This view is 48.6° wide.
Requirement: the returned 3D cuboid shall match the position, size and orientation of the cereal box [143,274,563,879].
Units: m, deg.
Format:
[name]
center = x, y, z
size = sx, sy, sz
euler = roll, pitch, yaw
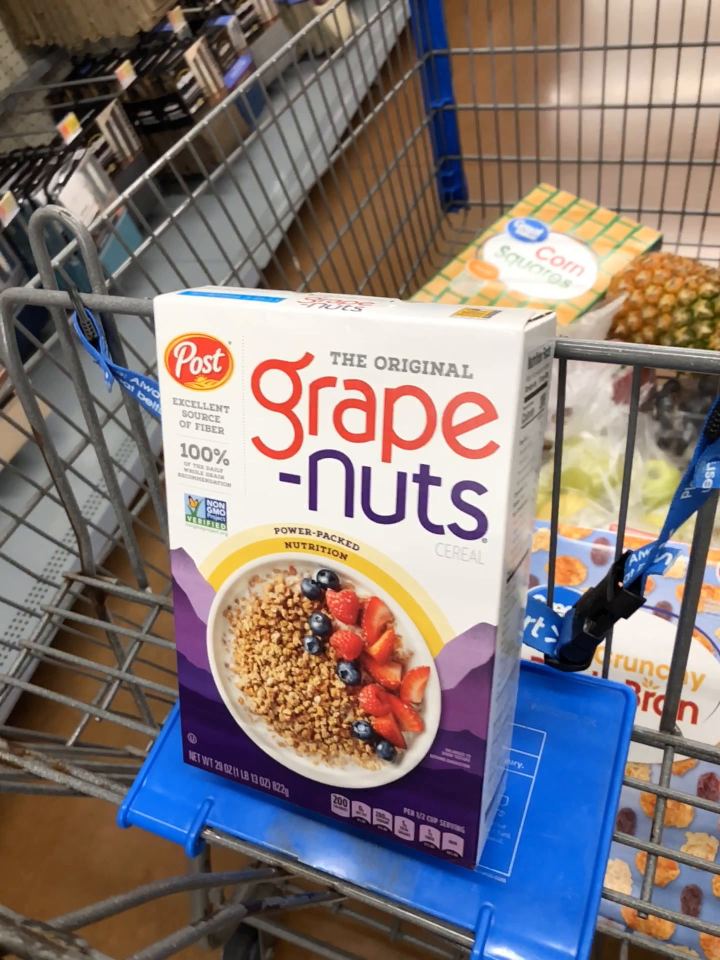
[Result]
[cereal box]
center = -0.010, 0.038, 0.371
size = 0.170, 0.250, 0.050
euler = 10, 20, 23
